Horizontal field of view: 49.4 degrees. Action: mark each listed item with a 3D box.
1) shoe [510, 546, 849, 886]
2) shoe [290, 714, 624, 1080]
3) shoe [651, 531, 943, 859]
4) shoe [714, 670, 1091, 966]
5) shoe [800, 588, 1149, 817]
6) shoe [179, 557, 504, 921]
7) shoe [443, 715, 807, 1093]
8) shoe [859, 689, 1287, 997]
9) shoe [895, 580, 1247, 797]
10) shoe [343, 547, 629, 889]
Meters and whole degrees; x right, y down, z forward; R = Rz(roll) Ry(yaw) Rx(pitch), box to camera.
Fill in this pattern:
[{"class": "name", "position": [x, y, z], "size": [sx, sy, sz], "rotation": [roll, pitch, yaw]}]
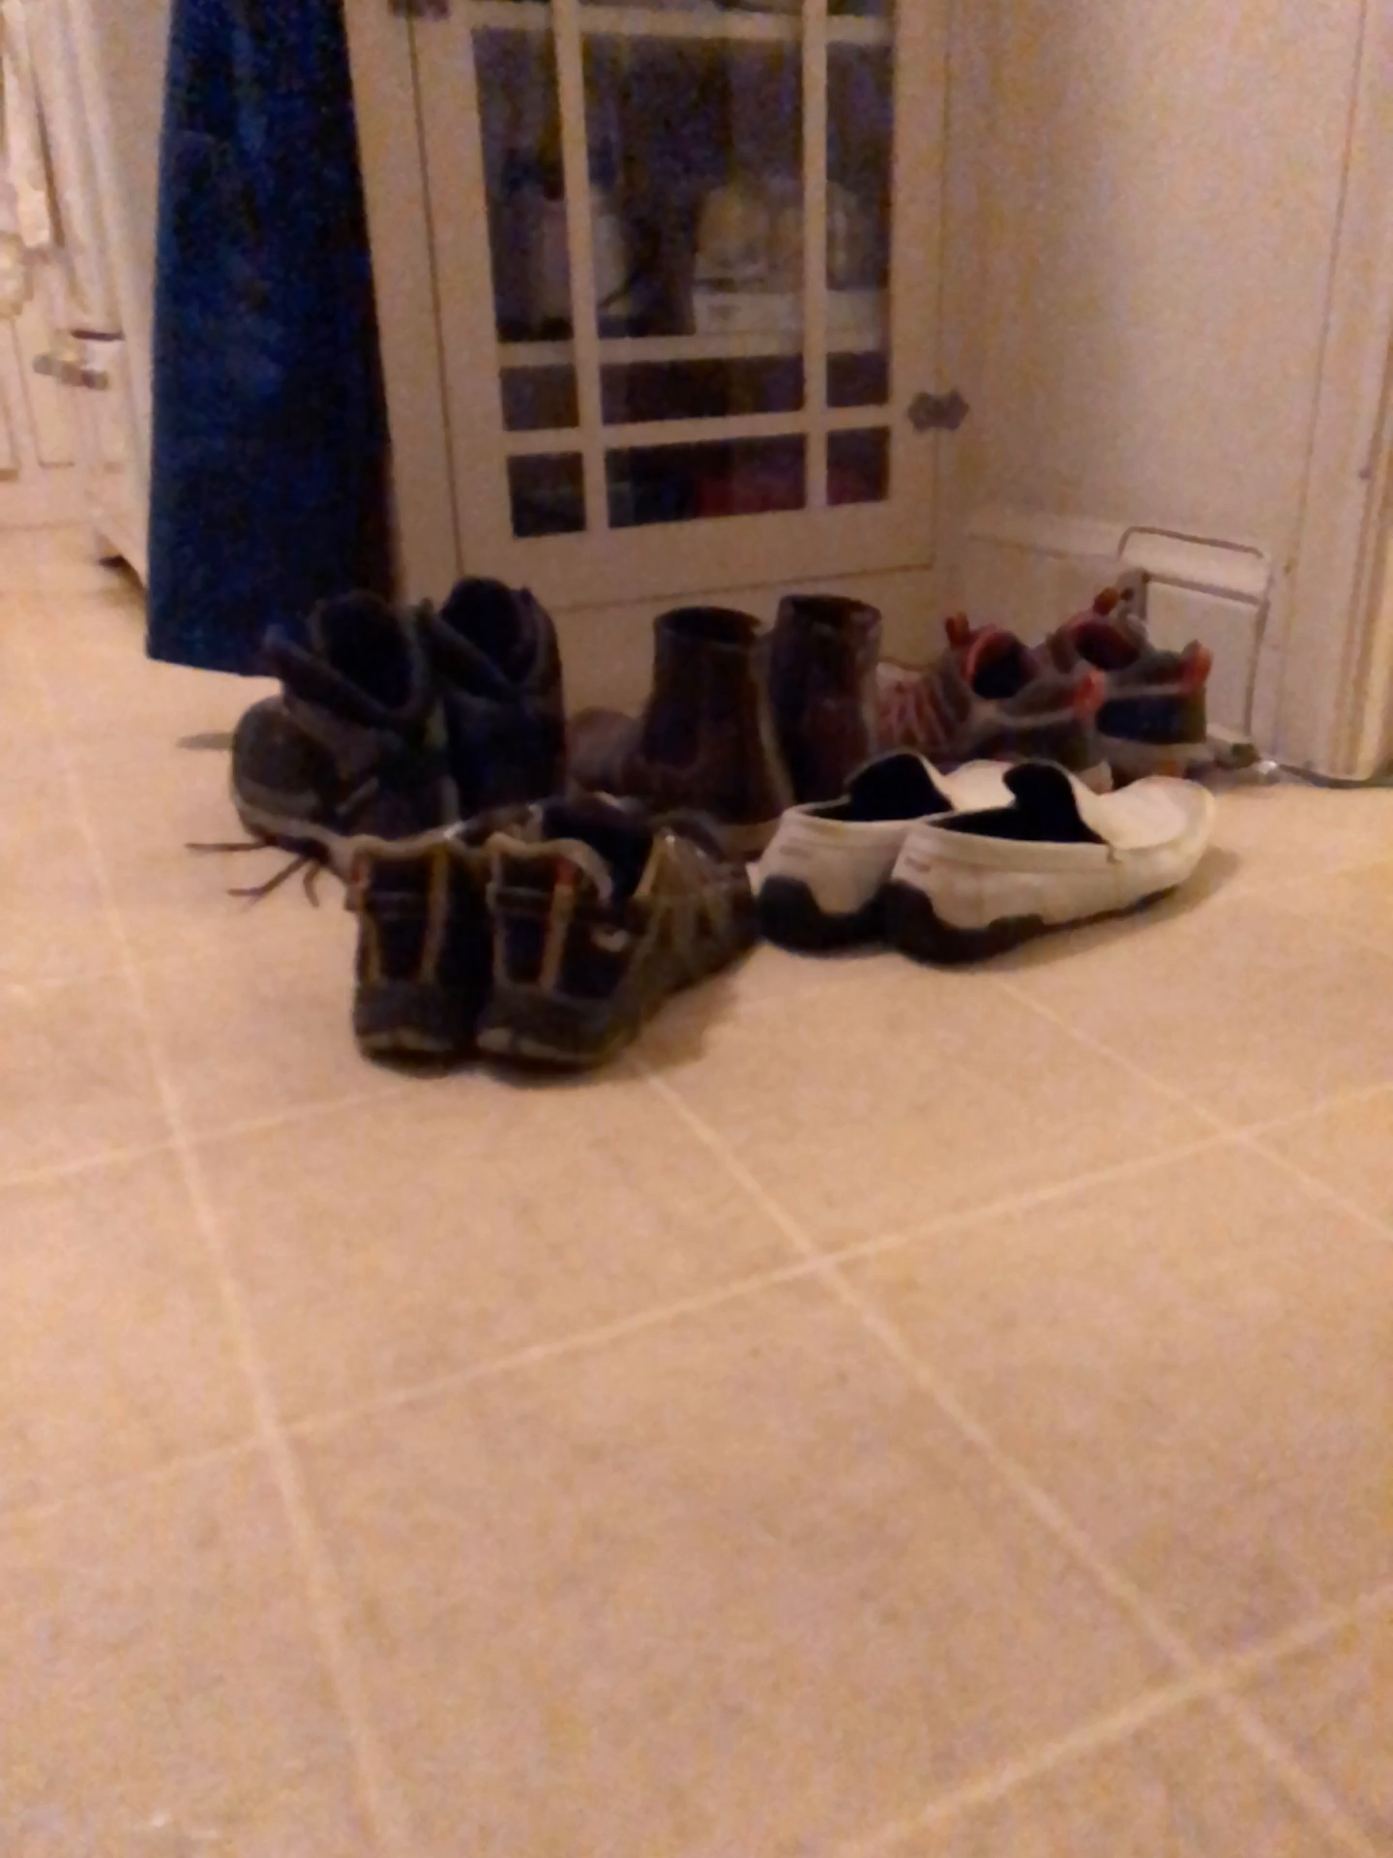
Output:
[{"class": "shoe", "position": [-0.022, -0.183, 1.211], "size": [0.110, 0.192, 0.324], "rotation": [-15, 26, -29]}, {"class": "shoe", "position": [-0.131, -0.034, 0.932], "size": [0.110, 0.122, 0.295], "rotation": [2, 23, 9]}, {"class": "shoe", "position": [0.072, -0.207, 1.256], "size": [0.110, 0.192, 0.324], "rotation": [-10, 24, -19]}, {"class": "shoe", "position": [0.152, -0.089, 1.057], "size": [0.110, 0.113, 0.304], "rotation": [16, 28, 37]}, {"class": "shoe", "position": [0.217, -0.198, 1.261], "size": [0.110, 0.113, 0.314], "rotation": [-13, 25, -26]}, {"class": "shoe", "position": [-0.274, -0.157, 1.140], "size": [0.110, 0.192, 0.324], "rotation": [-15, 26, -30]}, {"class": "shoe", "position": [-0.028, -0.030, 0.925], "size": [0.110, 0.122, 0.295], "rotation": [7, 24, 20]}, {"class": "shoe", "position": [0.253, -0.068, 1.004], "size": [0.304, 0.113, 0.110], "rotation": [-20, 28, -37]}, {"class": "shoe", "position": [0.310, -0.218, 1.315], "size": [0.110, 0.113, 0.314], "rotation": [-13, 25, -26]}, {"class": "shoe", "position": [-0.175, -0.182, 1.211], "size": [0.110, 0.192, 0.324], "rotation": [-12, 25, -24]}]
